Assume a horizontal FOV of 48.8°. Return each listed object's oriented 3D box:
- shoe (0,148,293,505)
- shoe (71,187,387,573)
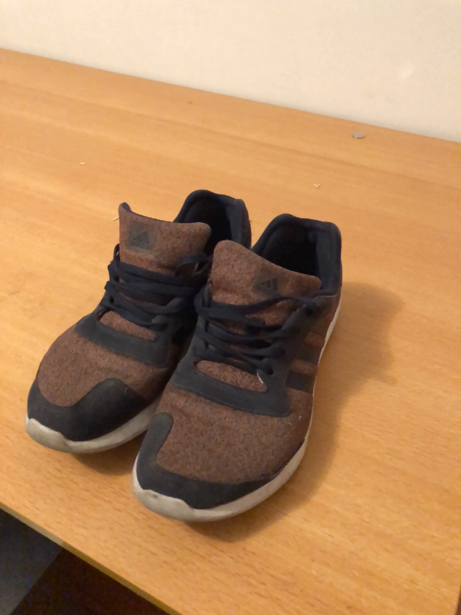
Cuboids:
[{"bbox_3d":[-0.066,-0.017,0.435,0.130,0.099,0.312,18,44,18],"label":"shoe"},{"bbox_3d":[0.021,0.025,0.373,0.110,0.099,0.262,18,44,18],"label":"shoe"}]
